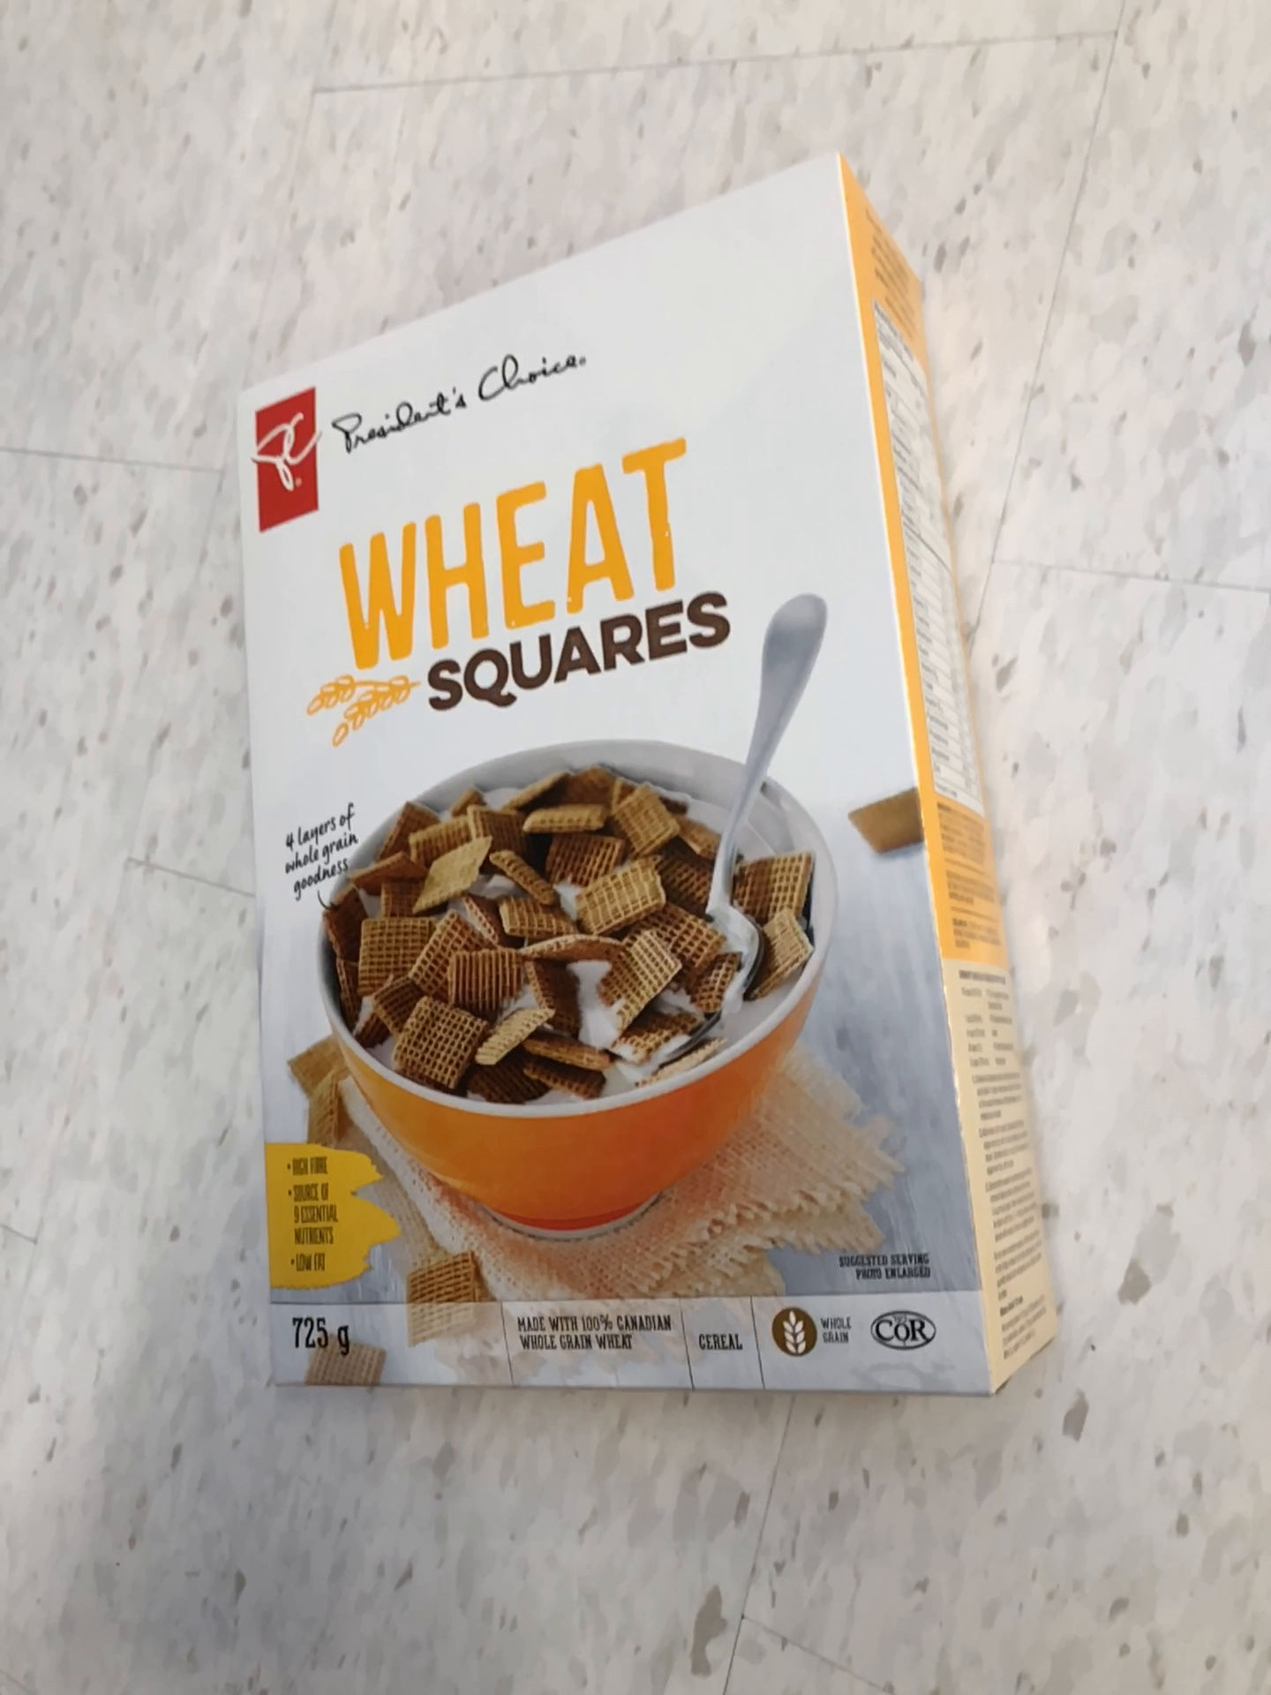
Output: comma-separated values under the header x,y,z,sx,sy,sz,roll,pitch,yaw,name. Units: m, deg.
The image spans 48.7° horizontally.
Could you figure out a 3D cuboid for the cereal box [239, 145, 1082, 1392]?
x,y,z,sx,sy,sz,roll,pitch,yaw,name
-0.004,-0.009,0.396,0.201,0.080,0.290,-10,78,27,cereal box
